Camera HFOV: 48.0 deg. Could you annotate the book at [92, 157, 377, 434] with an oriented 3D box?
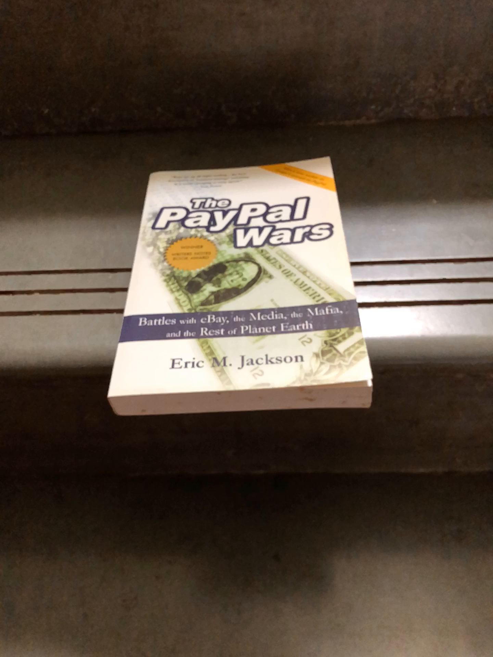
[{"bbox_3d":[-0.007,-0.037,0.375,0.150,0.030,0.221,-3,49,2],"label":"book"}]
